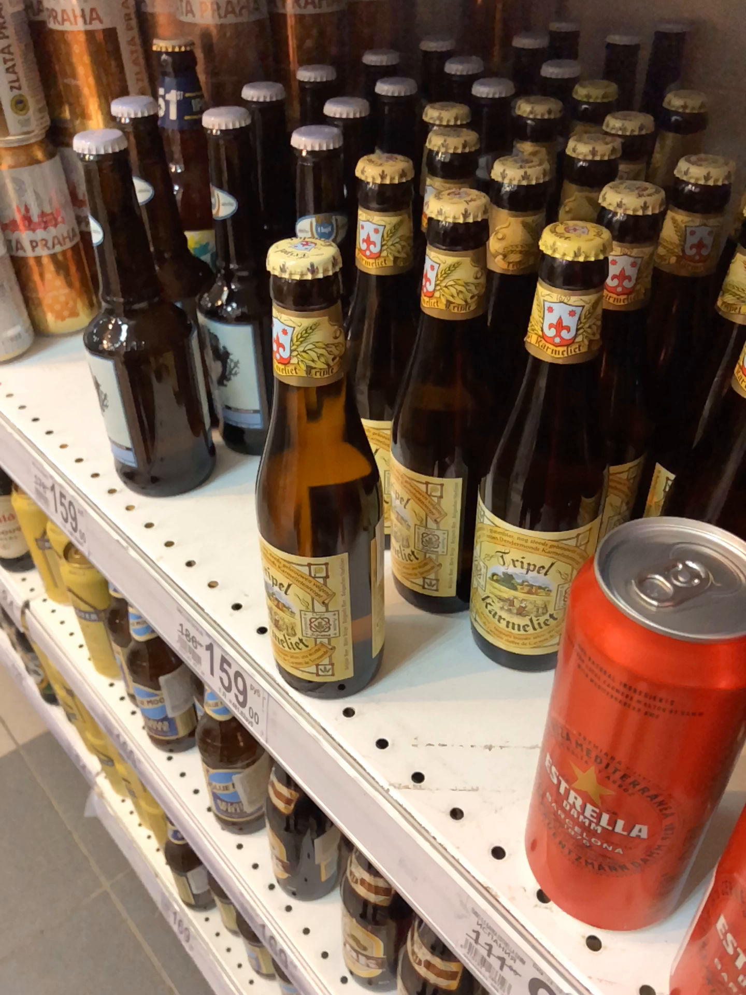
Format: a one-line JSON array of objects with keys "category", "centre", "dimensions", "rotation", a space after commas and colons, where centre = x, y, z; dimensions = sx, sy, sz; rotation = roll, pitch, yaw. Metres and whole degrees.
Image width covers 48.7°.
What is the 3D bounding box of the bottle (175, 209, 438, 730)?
[{"category": "bottle", "centre": [-0.024, -0.004, 0.373], "dimensions": [0.070, 0.219, 0.070], "rotation": [-1, 38, 1]}]
